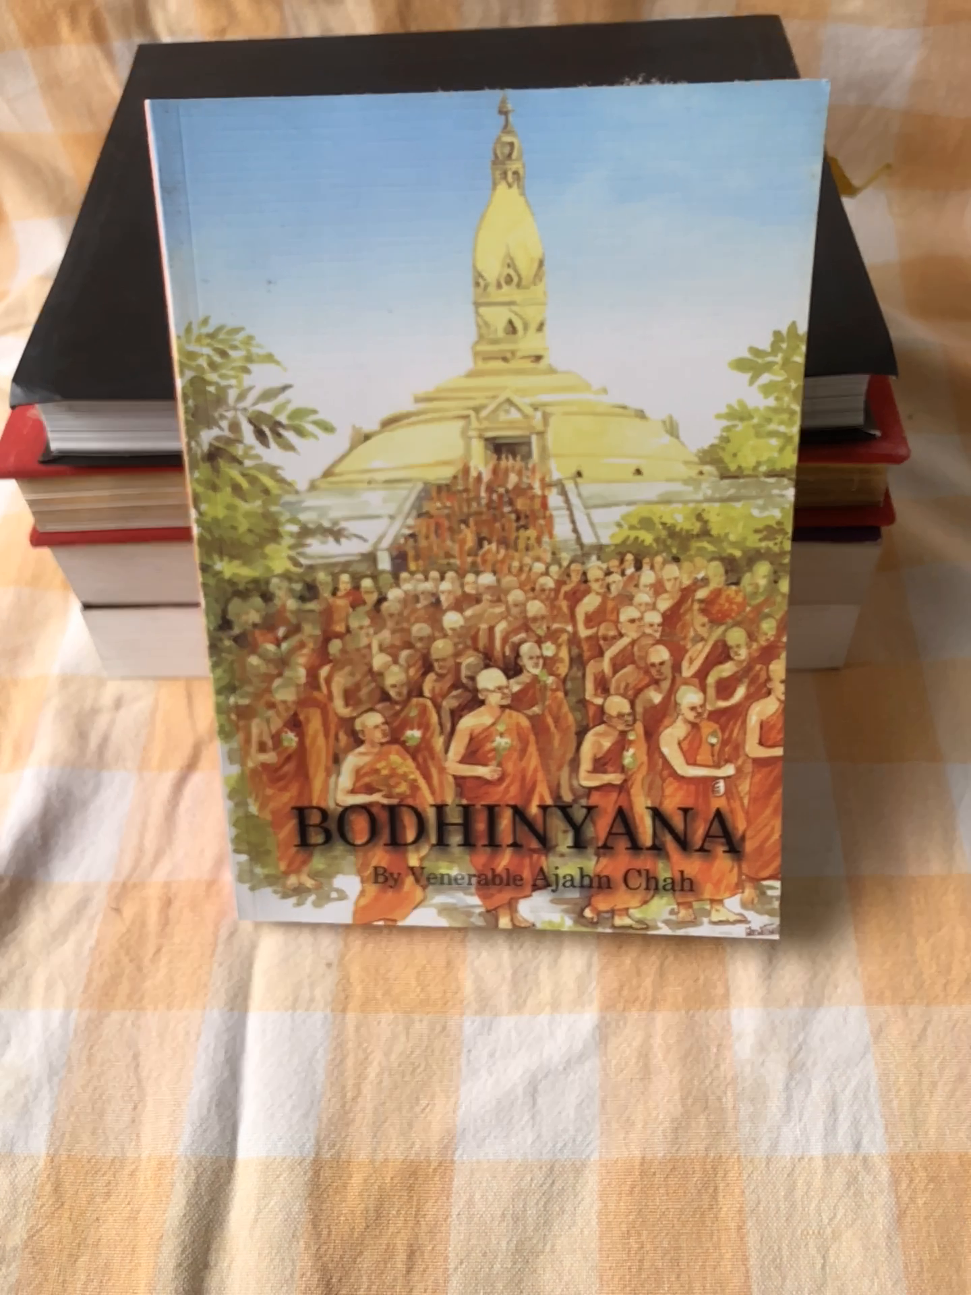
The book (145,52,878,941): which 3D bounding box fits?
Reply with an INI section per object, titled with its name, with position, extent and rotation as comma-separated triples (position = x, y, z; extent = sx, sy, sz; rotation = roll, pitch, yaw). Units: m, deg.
[book]
position = 0.004, -0.029, 0.265
extent = 0.150, 0.200, 0.030
rotation = 2, 17, 5
